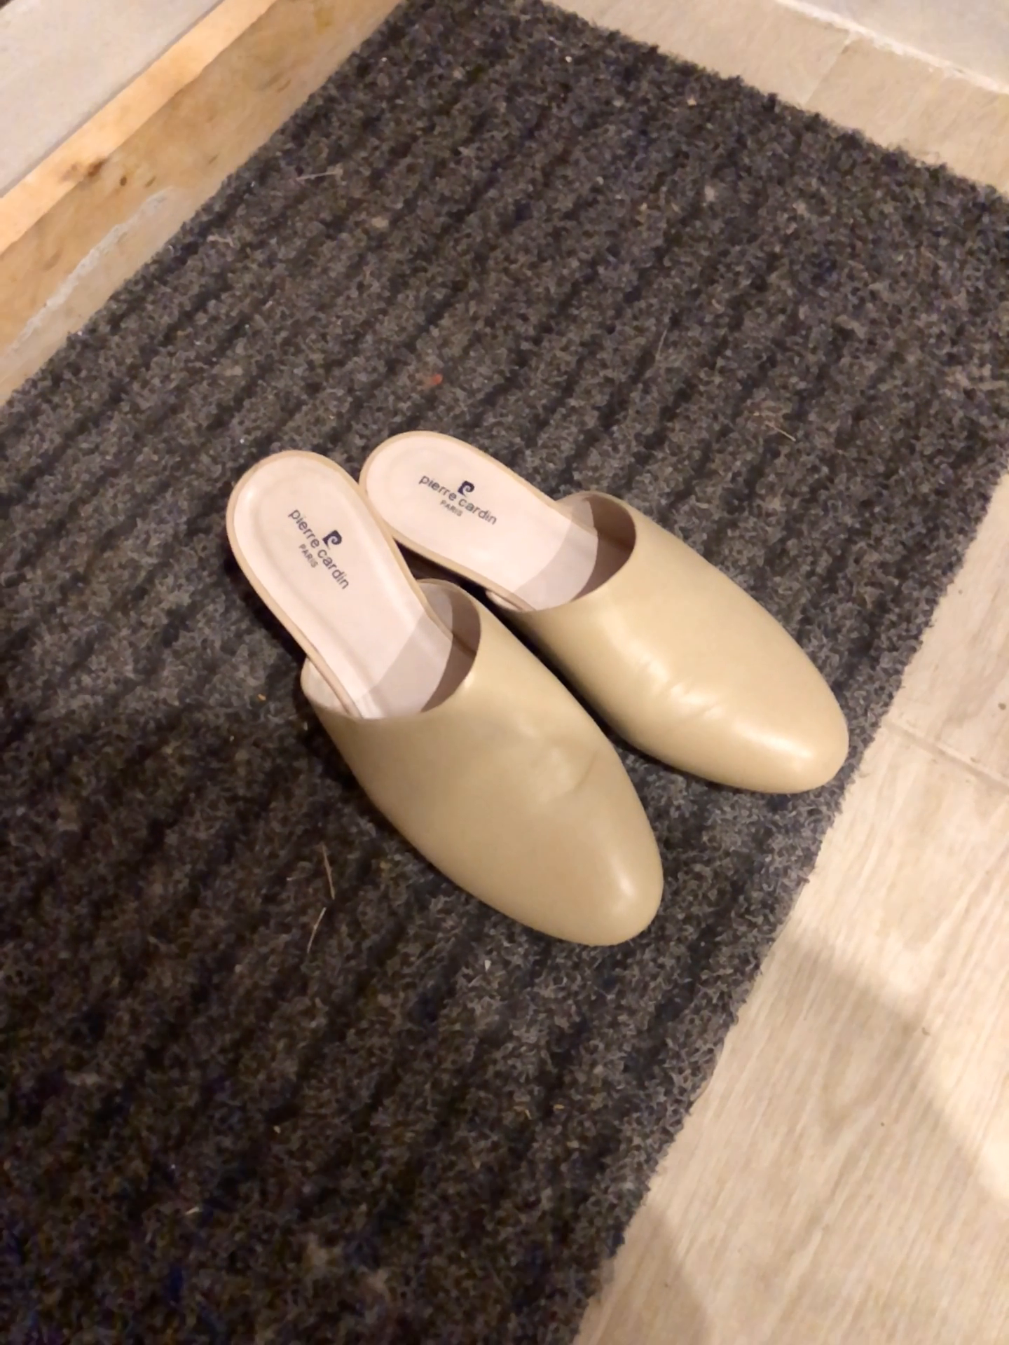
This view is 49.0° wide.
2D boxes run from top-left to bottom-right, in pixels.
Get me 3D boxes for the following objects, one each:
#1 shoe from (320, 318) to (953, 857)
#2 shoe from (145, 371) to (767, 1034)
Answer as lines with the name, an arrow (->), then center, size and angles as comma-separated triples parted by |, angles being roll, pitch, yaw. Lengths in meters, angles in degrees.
shoe -> 0.048, -0.040, 0.478 | 0.250, 0.070, 0.090 | 36, 70, 14
shoe -> -0.026, 0.006, 0.432 | 0.090, 0.070, 0.250 | -36, 71, -16
